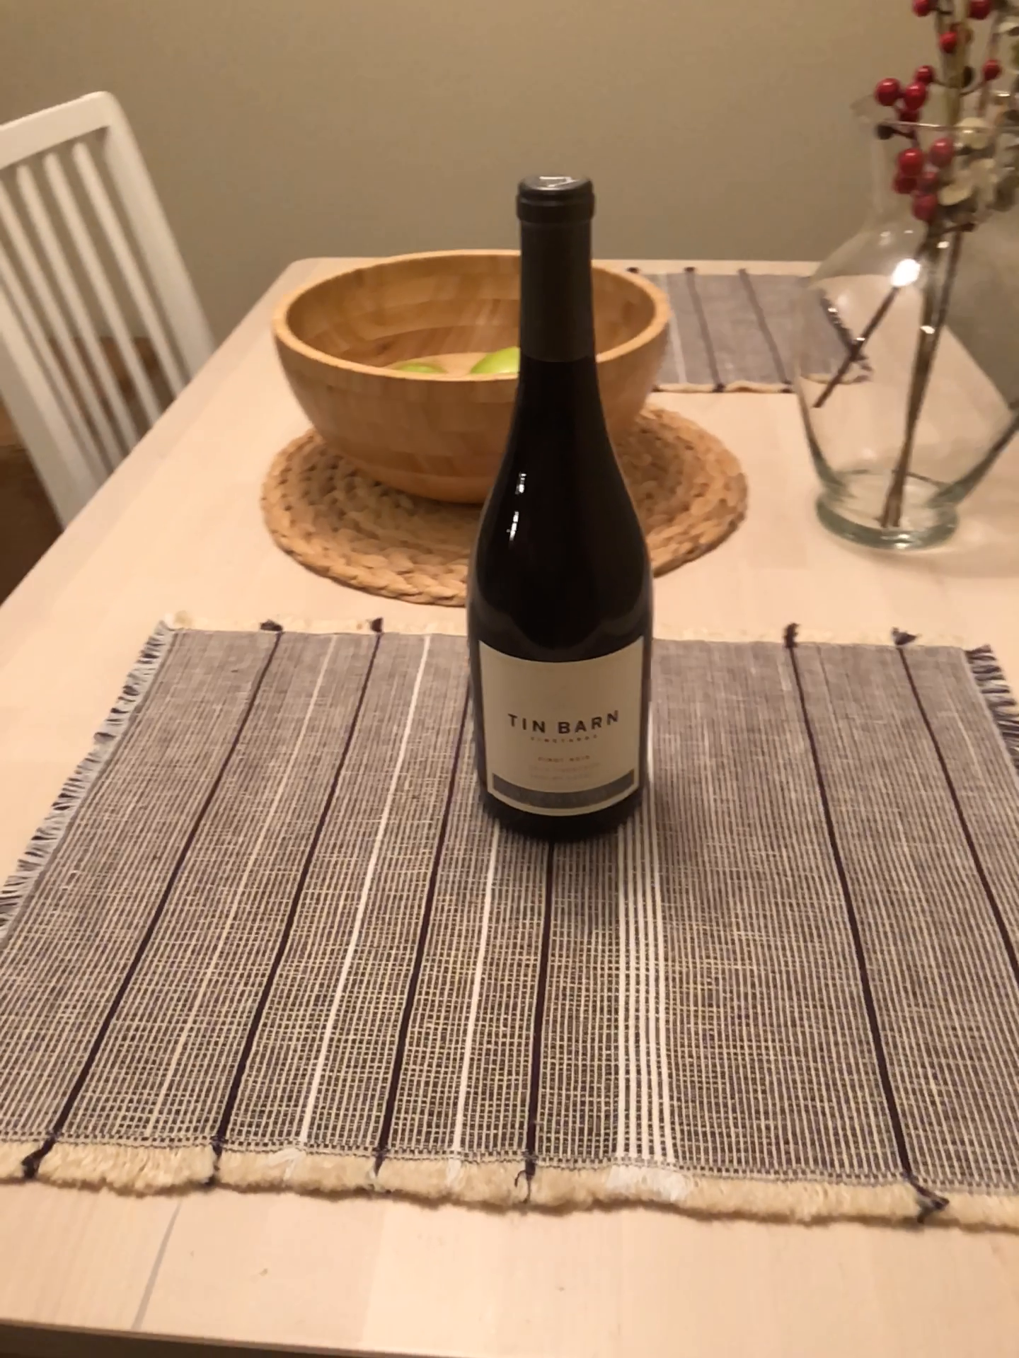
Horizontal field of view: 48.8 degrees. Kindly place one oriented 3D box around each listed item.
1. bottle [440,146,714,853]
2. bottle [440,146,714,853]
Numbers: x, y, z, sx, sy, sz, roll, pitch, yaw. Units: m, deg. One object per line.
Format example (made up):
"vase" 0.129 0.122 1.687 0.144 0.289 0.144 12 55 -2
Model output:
"bottle" 0.023 -0.066 0.492 0.090 0.288 0.101 -2 35 -1
"bottle" 0.023 -0.066 0.492 0.090 0.288 0.101 -2 35 -1
